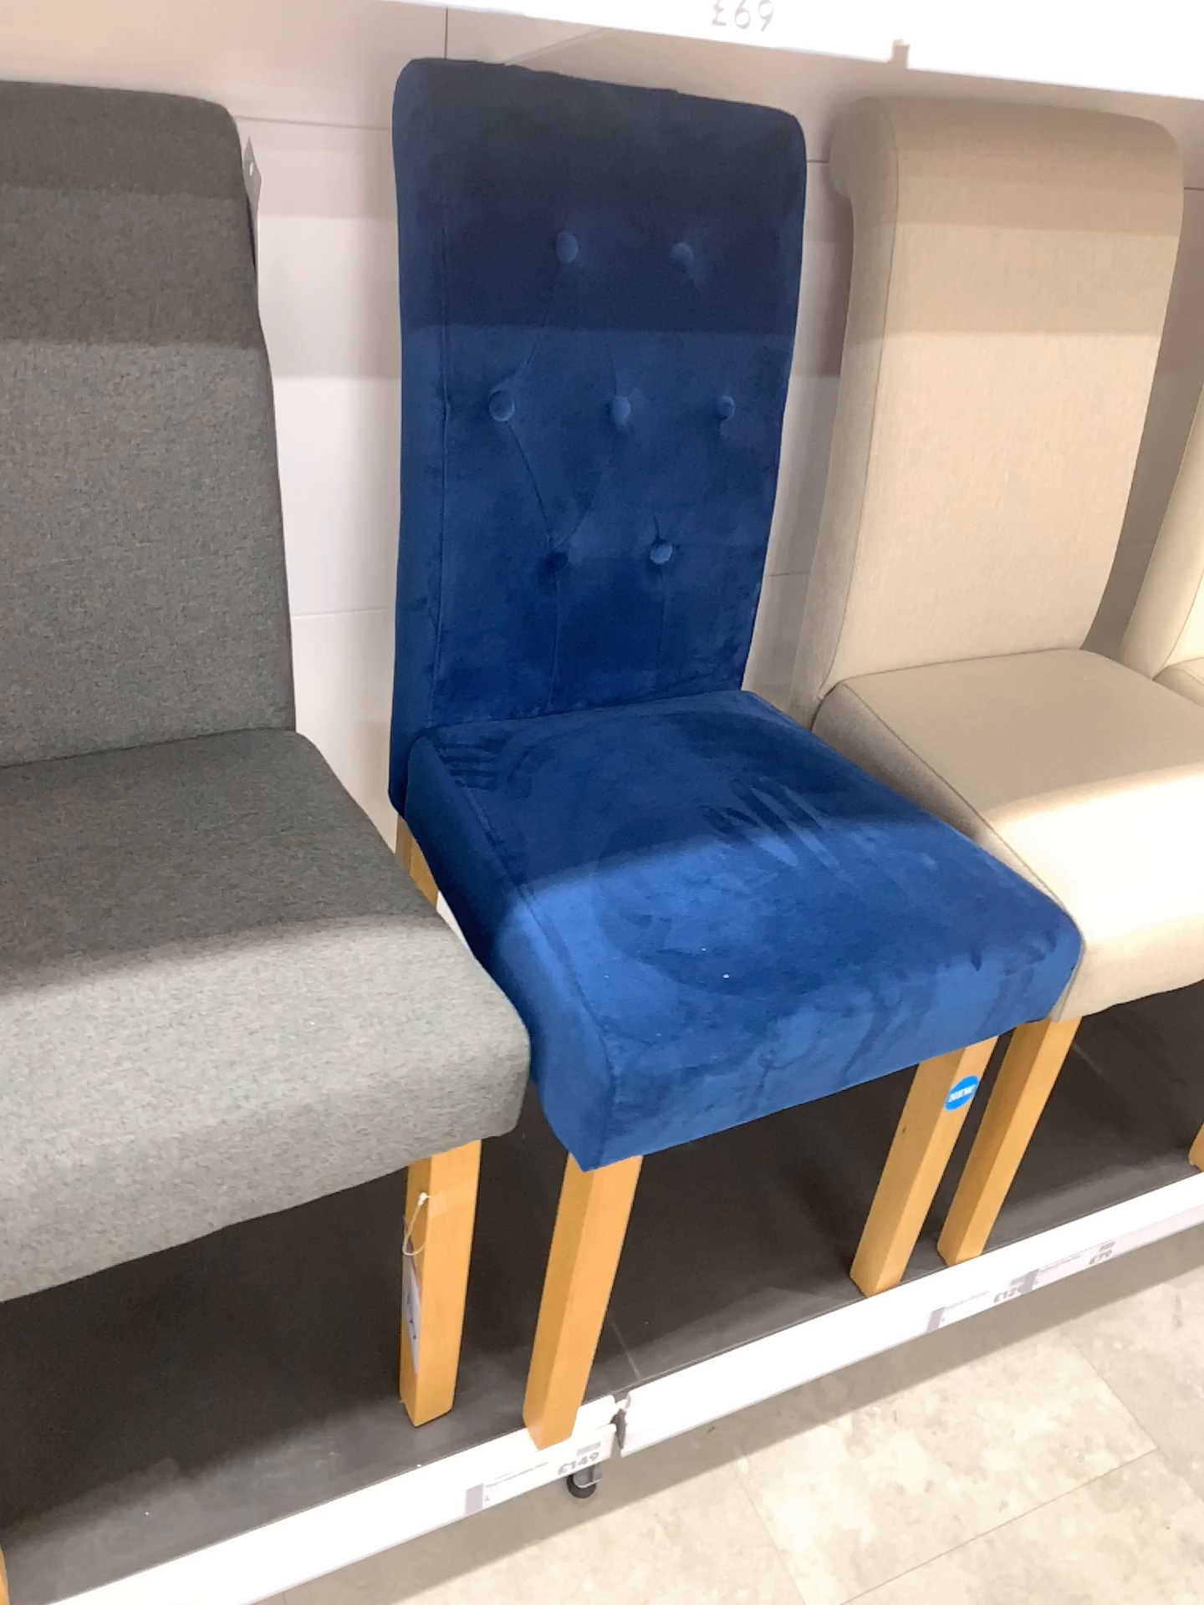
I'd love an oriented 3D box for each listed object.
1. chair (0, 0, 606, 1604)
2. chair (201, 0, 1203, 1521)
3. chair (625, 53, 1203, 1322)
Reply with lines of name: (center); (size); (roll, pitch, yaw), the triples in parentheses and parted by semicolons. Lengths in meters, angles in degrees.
chair: (-0.396, -0.009, 0.944); (0.490, 1.025, 0.671); (-9, 31, -24)
chair: (-0.006, -0.075, 1.101); (0.490, 1.035, 0.671); (-9, 31, -24)
chair: (0.429, -0.153, 1.291); (0.490, 1.035, 0.671); (-9, 31, -24)
